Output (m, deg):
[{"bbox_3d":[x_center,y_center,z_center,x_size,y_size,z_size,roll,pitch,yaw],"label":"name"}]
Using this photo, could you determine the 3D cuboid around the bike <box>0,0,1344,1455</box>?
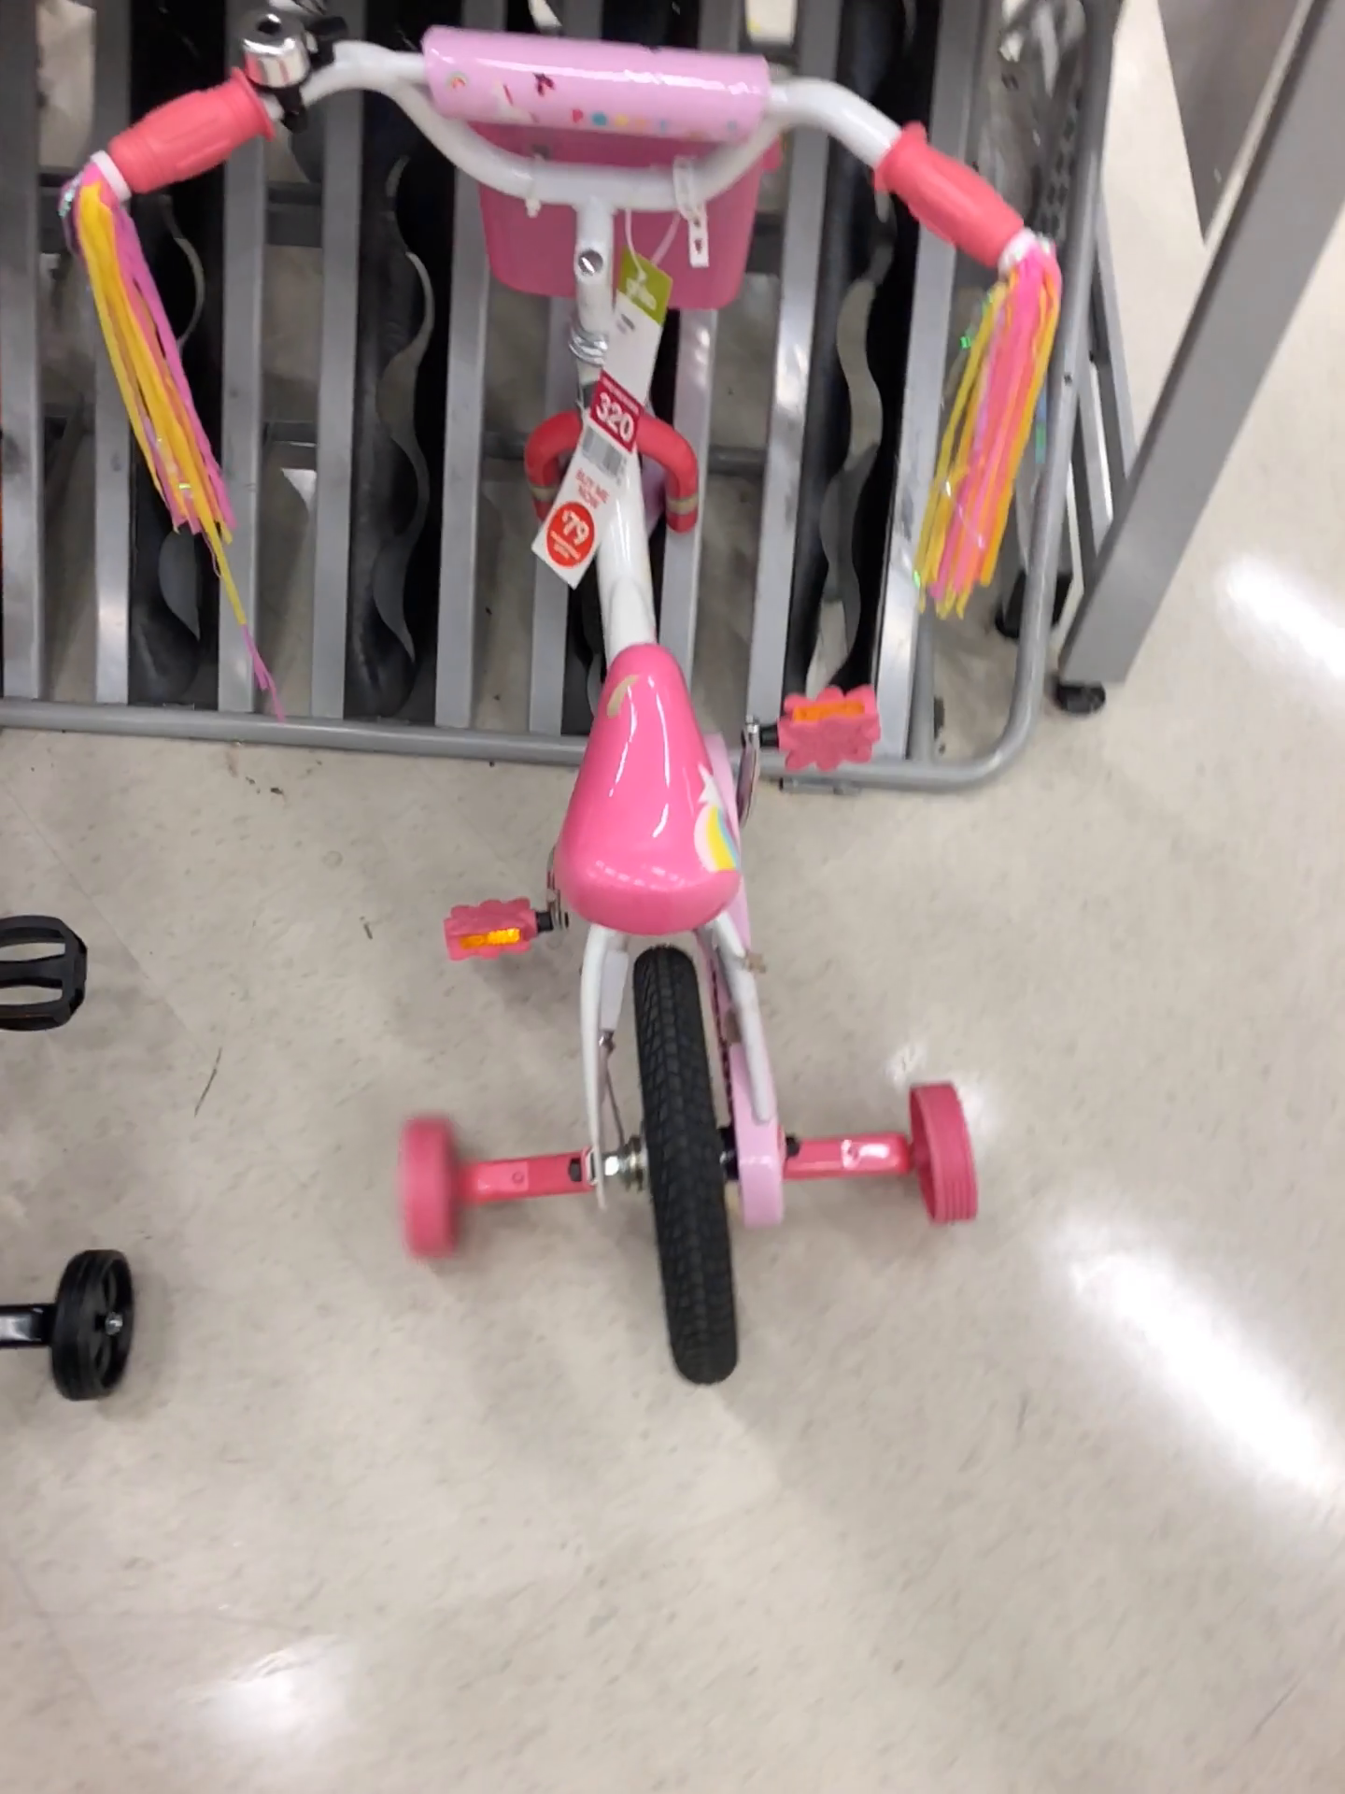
[{"bbox_3d":[-0.038,-0.207,0.977,0.515,0.592,0.946,-5,61,-3],"label":"bike"}]
